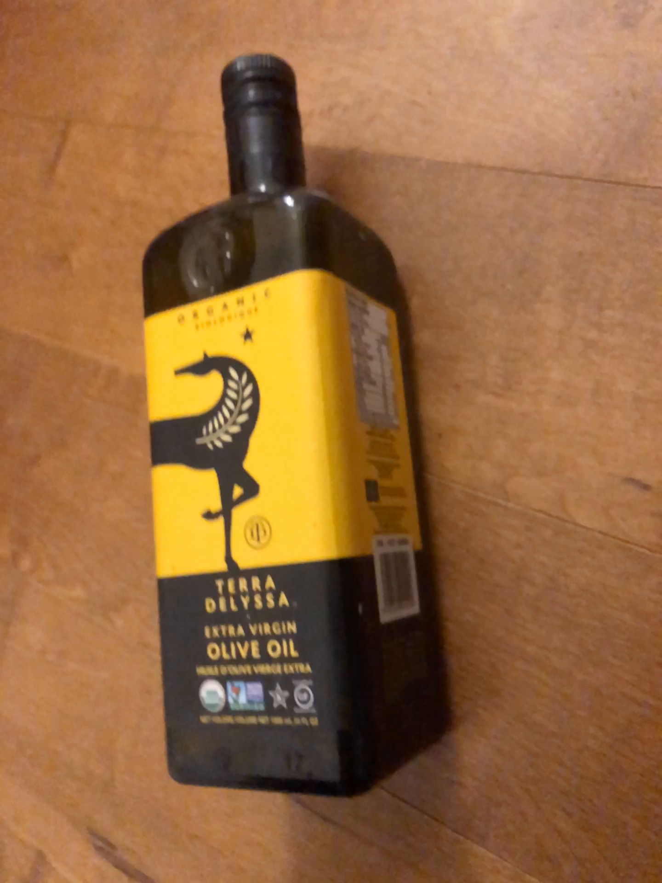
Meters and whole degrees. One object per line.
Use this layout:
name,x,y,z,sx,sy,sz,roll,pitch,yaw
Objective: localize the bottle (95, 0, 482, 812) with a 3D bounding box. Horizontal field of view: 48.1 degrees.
bottle,-0.020,-0.023,0.267,0.090,0.060,0.270,-13,78,28
